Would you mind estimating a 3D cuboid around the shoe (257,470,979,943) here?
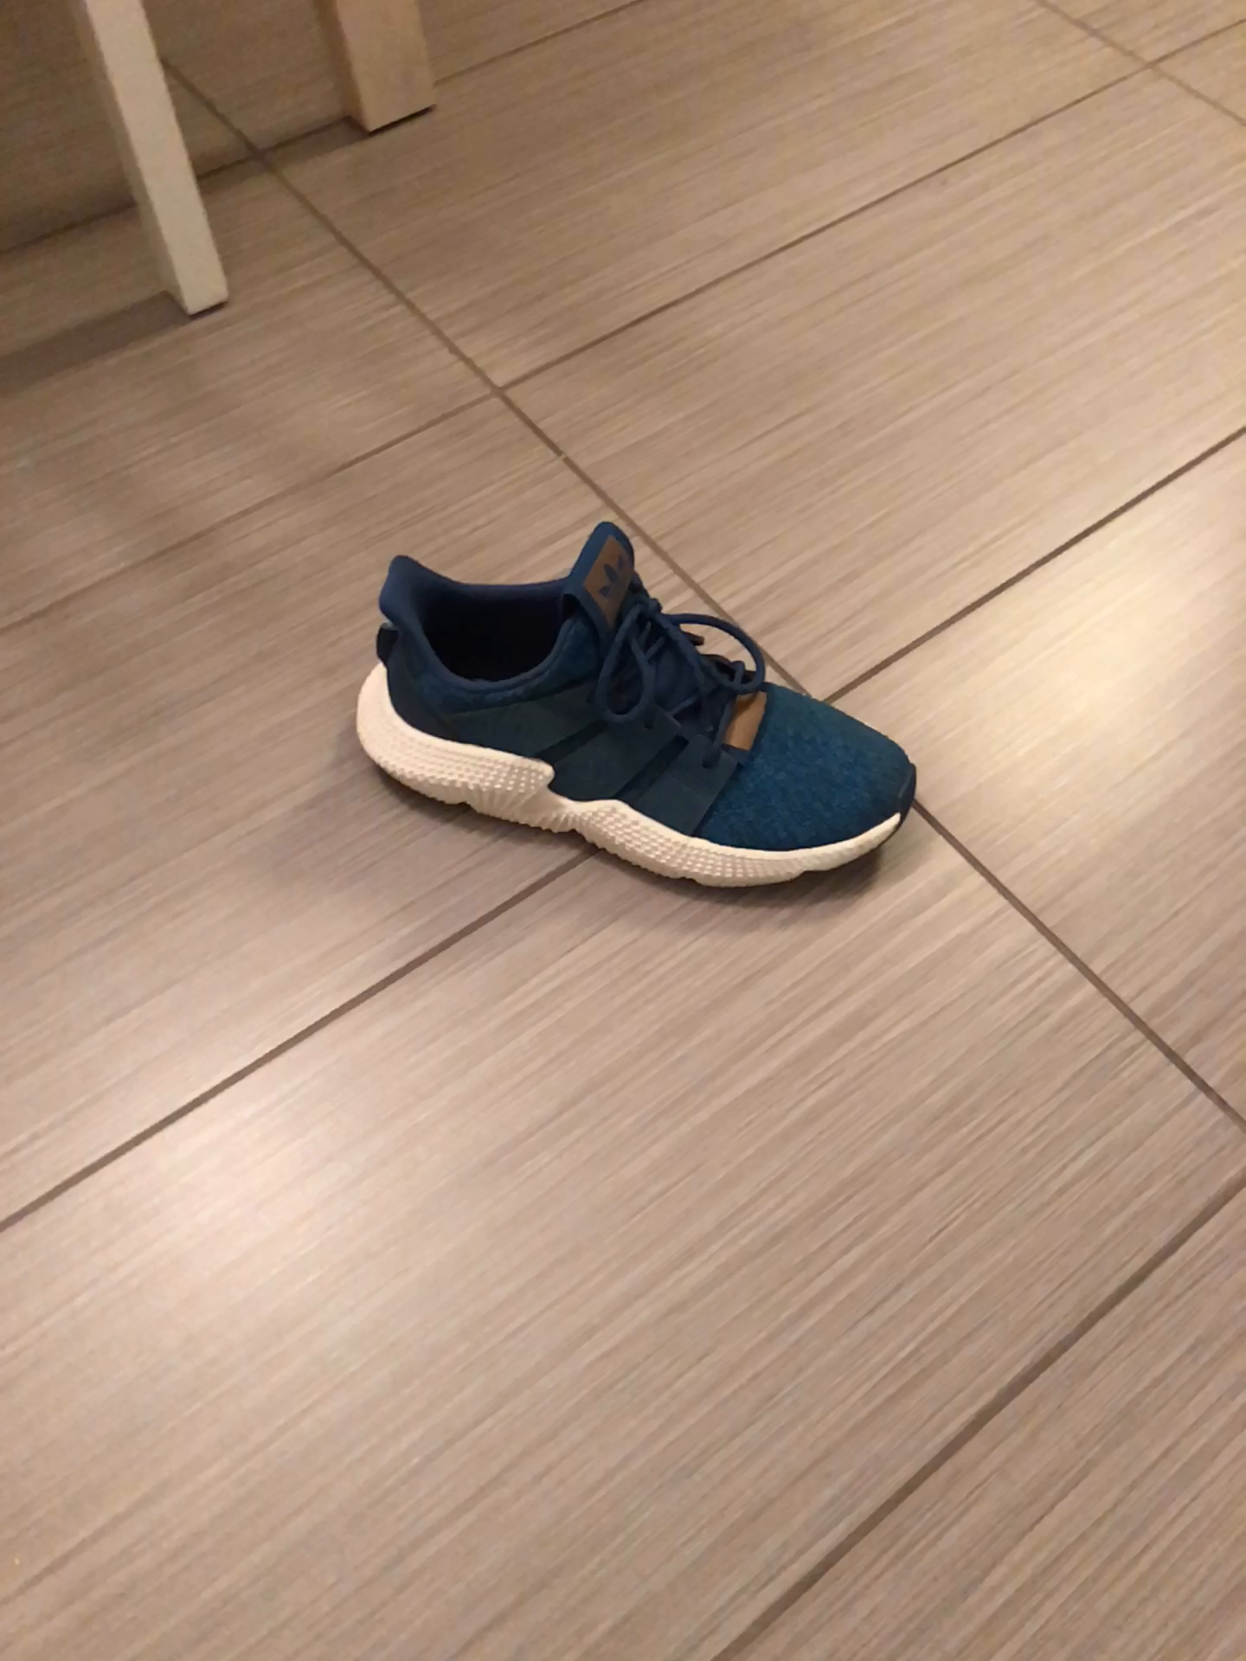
[{"bbox_3d":[0.000,-0.057,0.638,0.290,0.120,0.112,13,59,8],"label":"shoe"}]
